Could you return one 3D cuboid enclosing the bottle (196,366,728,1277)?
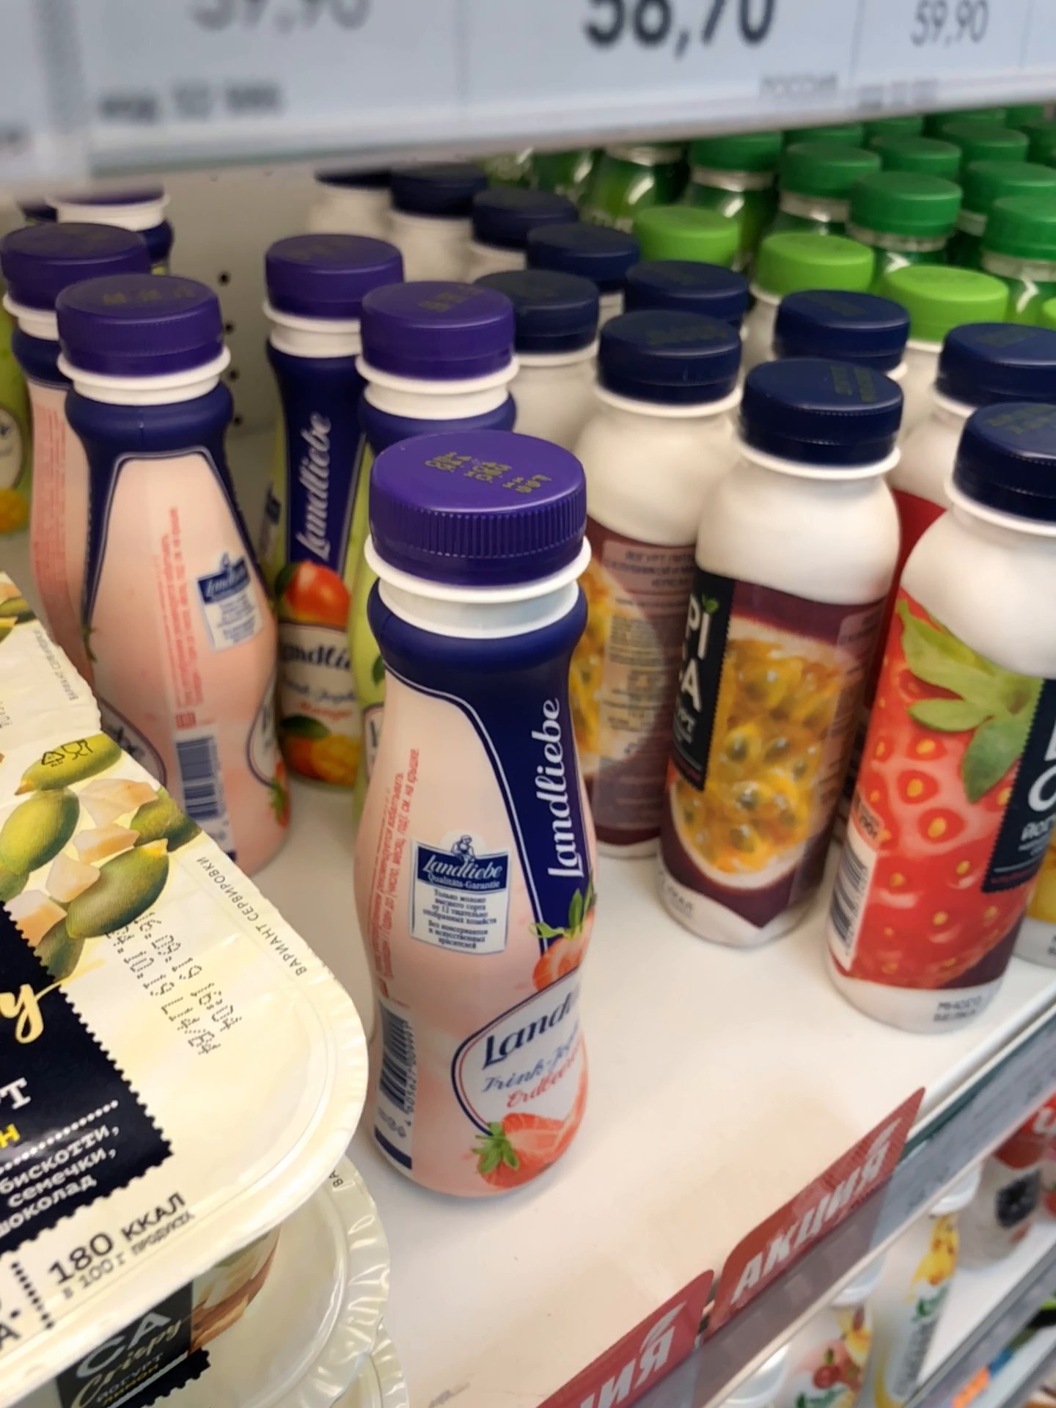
[{"bbox_3d":[-0.017,0.032,0.272,0.070,0.189,0.070,2,35,-1],"label":"bottle"}]
